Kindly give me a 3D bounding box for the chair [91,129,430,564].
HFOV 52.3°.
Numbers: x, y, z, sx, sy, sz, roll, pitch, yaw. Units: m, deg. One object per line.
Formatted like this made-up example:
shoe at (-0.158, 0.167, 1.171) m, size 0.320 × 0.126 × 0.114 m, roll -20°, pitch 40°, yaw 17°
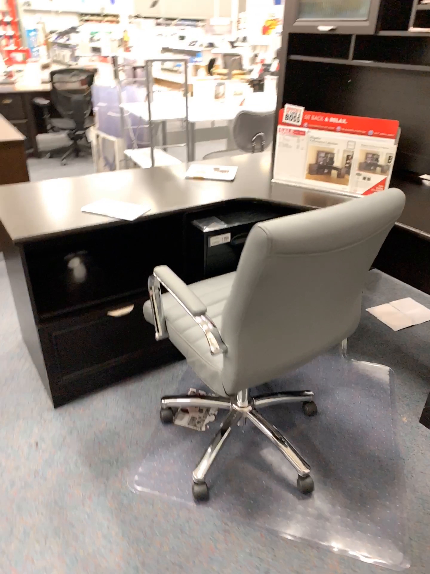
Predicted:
chair at (0.100, 0.099, 1.363) m, size 0.658 × 0.962 × 0.710 m, roll -15°, pitch 34°, yaw -27°
